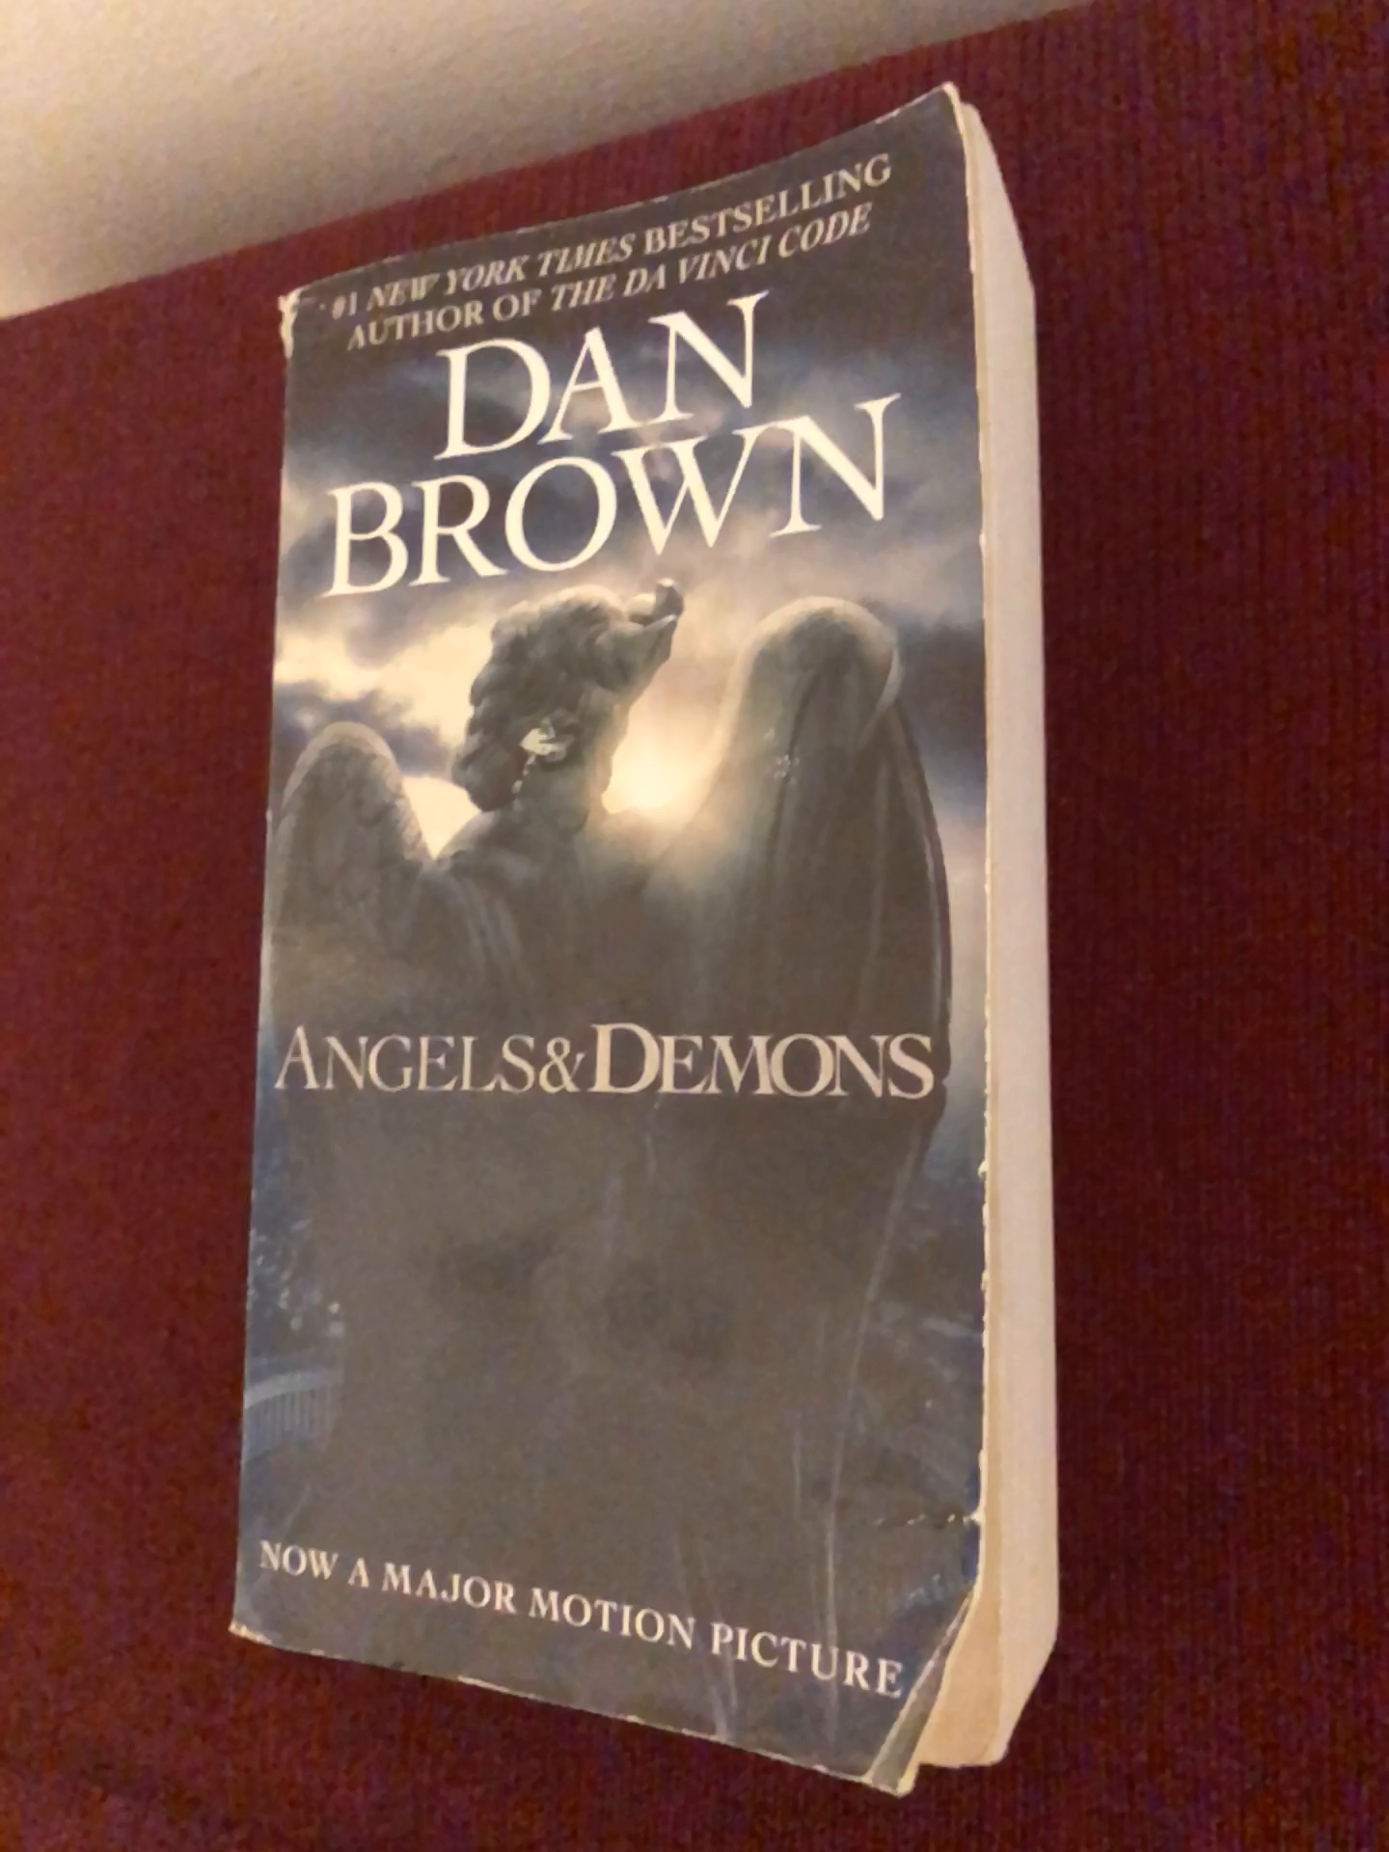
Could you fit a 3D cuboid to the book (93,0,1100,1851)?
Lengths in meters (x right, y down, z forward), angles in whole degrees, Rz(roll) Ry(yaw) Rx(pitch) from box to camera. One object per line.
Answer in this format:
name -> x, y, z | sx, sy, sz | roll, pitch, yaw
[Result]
book -> -0.014, -0.005, 0.205 | 0.120, 0.040, 0.210 | -4, 81, 27
